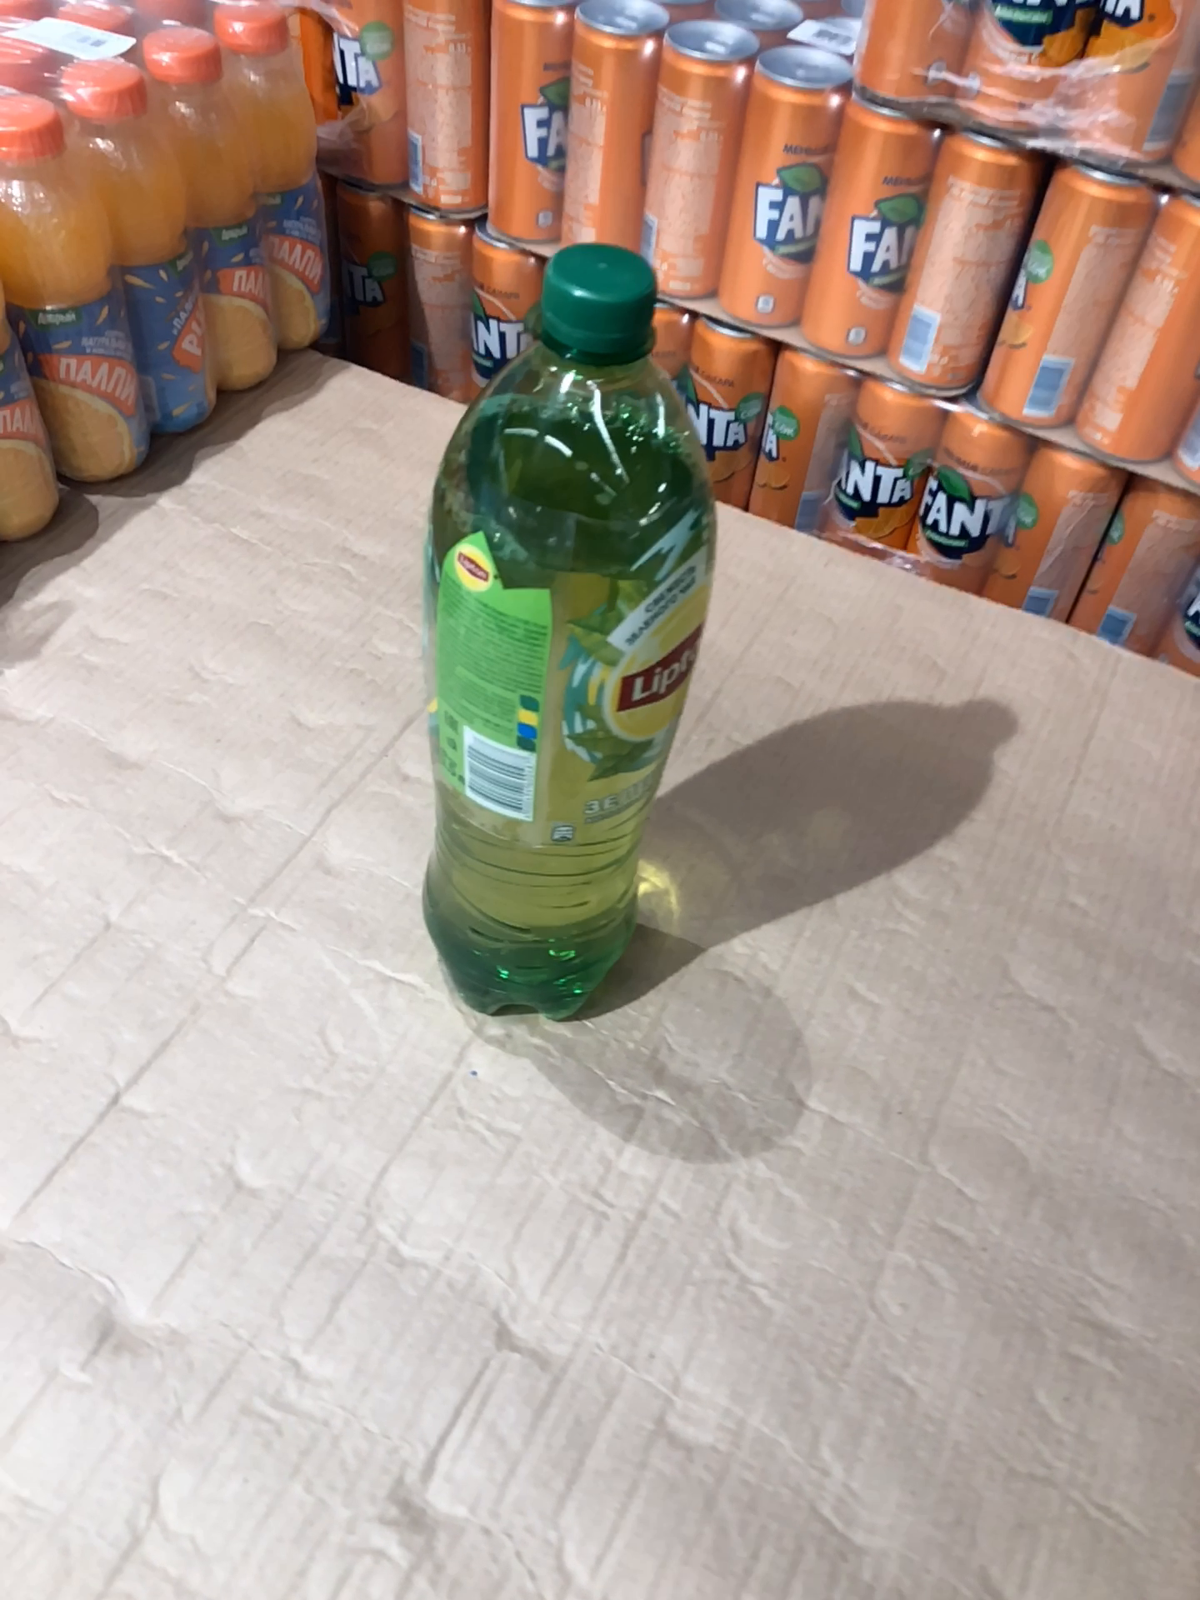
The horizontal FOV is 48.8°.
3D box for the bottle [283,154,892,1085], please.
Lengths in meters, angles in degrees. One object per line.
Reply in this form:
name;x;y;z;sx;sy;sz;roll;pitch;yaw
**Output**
bottle;-0.012;-0.045;0.470;0.120;0.288;0.121;3;49;-4
